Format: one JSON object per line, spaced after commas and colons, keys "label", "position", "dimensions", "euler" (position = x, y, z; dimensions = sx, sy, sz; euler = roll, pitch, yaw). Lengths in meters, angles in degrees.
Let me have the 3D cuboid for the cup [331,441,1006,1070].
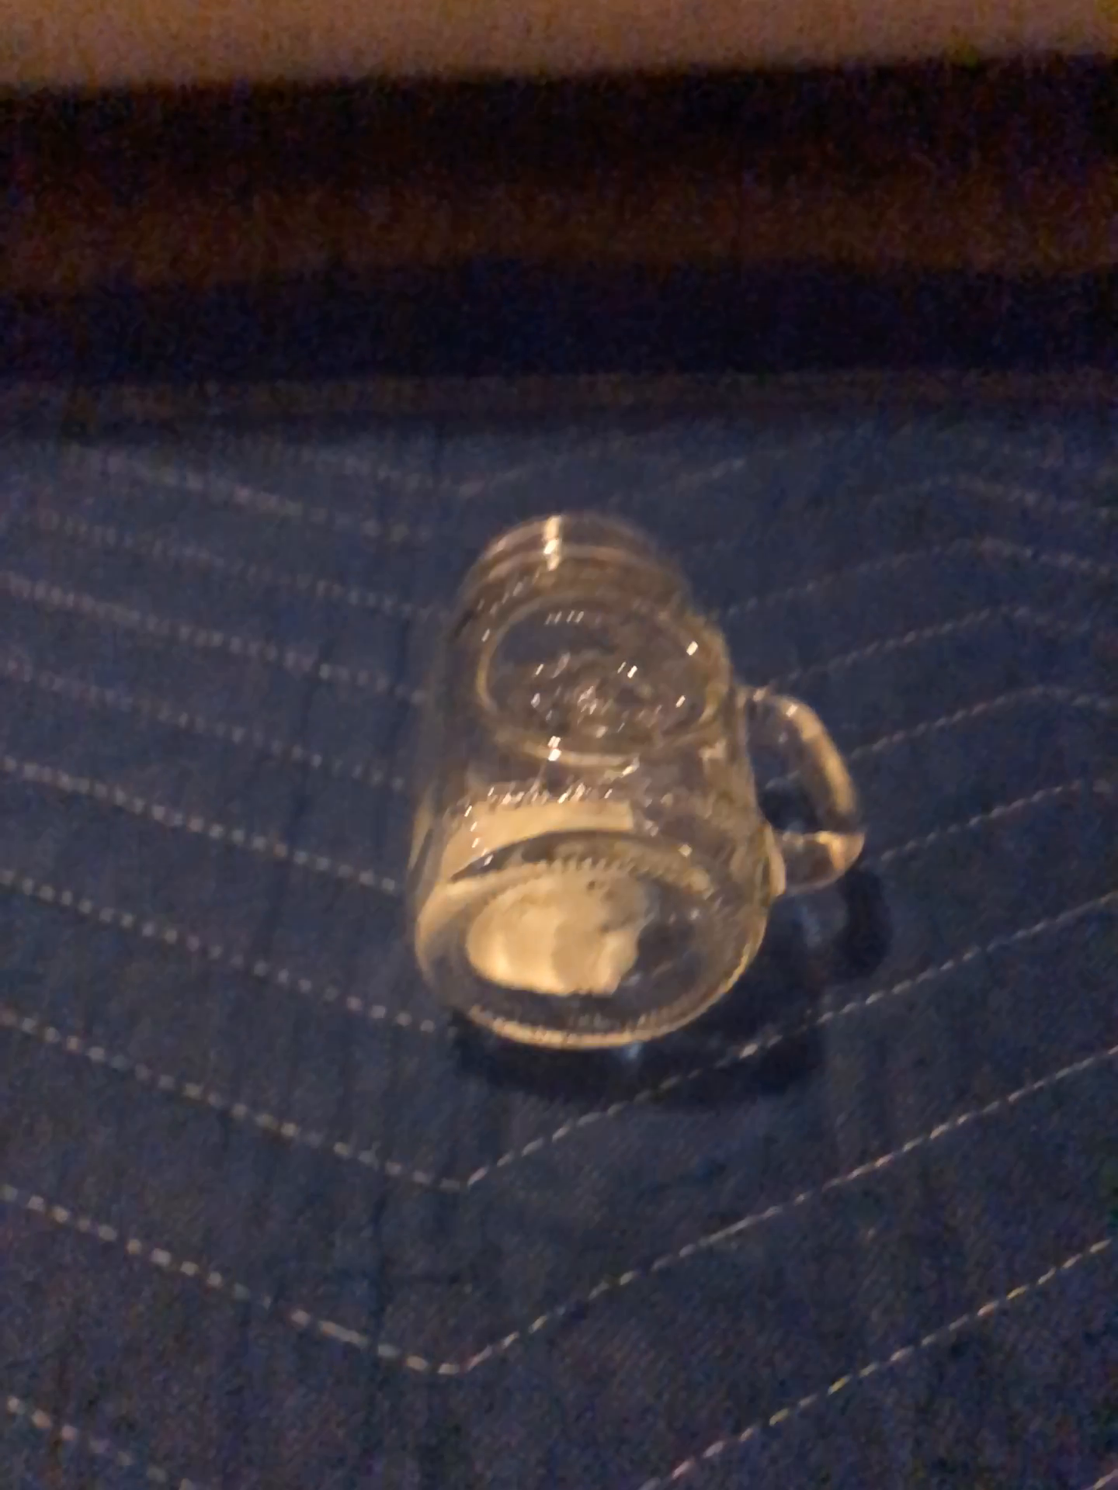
{"label": "cup", "position": [0.013, -0.002, 0.212], "dimensions": [0.088, 0.043, 0.096], "euler": [-2, 48, 2]}
